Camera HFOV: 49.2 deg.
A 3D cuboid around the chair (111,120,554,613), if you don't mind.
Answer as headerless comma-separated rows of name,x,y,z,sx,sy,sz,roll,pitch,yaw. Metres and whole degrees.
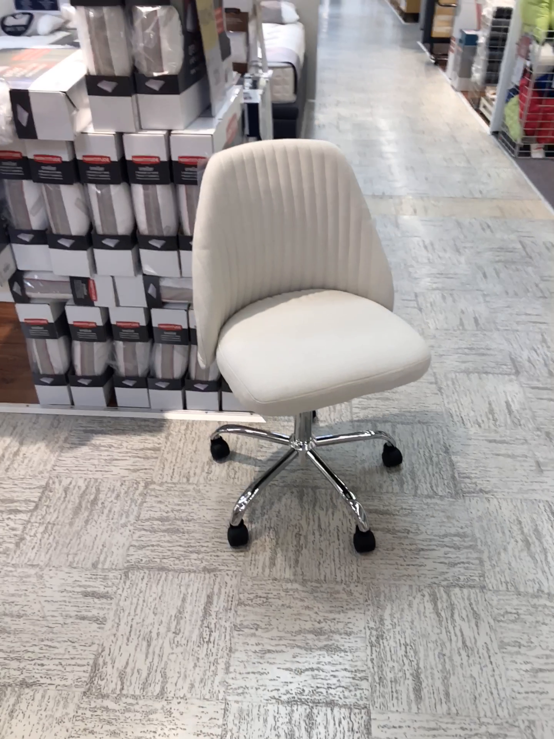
chair,0.111,-0.065,1.430,0.703,0.785,0.632,-19,39,-24
